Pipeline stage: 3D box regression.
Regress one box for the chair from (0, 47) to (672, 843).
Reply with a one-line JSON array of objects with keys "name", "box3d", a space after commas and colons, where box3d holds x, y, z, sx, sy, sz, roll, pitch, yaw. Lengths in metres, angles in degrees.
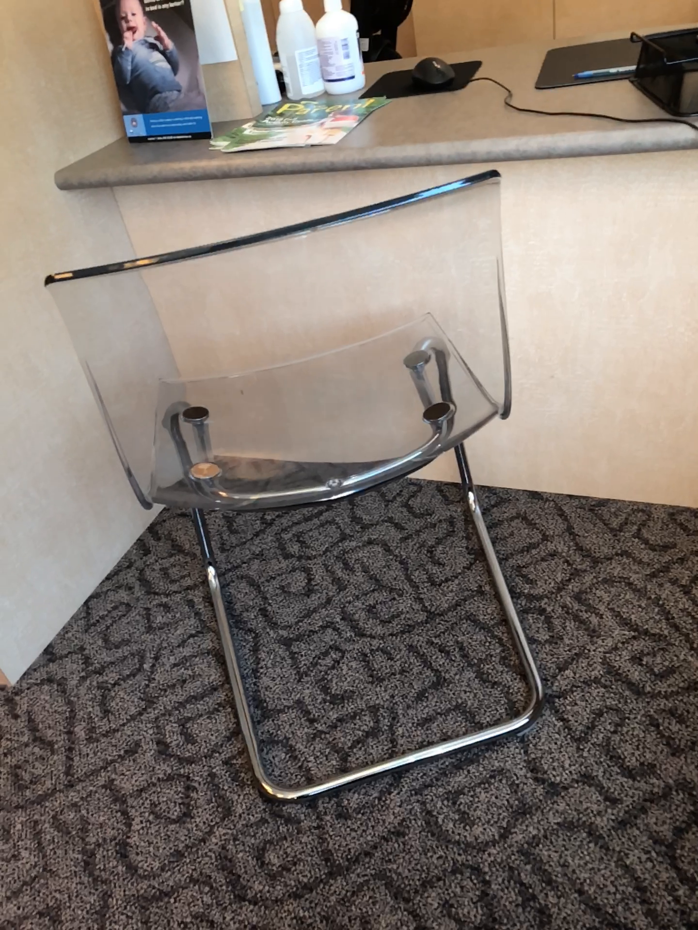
[{"name": "chair", "box3d": [-0.023, -0.057, 1.095, 0.600, 0.804, 0.645, -15, 35, -4]}]
